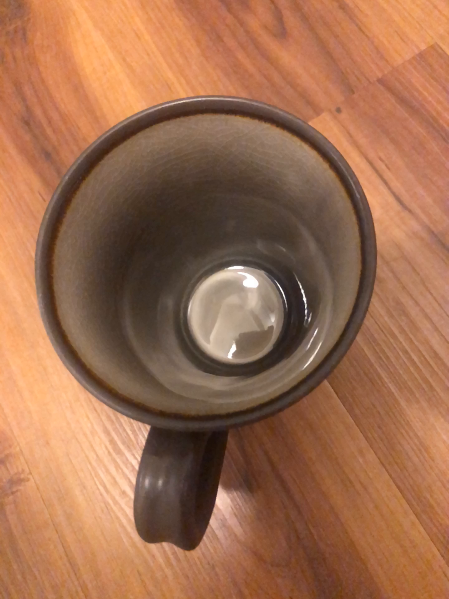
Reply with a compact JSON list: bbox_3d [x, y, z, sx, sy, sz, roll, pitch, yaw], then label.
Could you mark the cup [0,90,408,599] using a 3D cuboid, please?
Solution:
[{"bbox_3d":[-0.001,0.018,0.199,0.114,0.100,0.154,6,77,10],"label":"cup"}]
